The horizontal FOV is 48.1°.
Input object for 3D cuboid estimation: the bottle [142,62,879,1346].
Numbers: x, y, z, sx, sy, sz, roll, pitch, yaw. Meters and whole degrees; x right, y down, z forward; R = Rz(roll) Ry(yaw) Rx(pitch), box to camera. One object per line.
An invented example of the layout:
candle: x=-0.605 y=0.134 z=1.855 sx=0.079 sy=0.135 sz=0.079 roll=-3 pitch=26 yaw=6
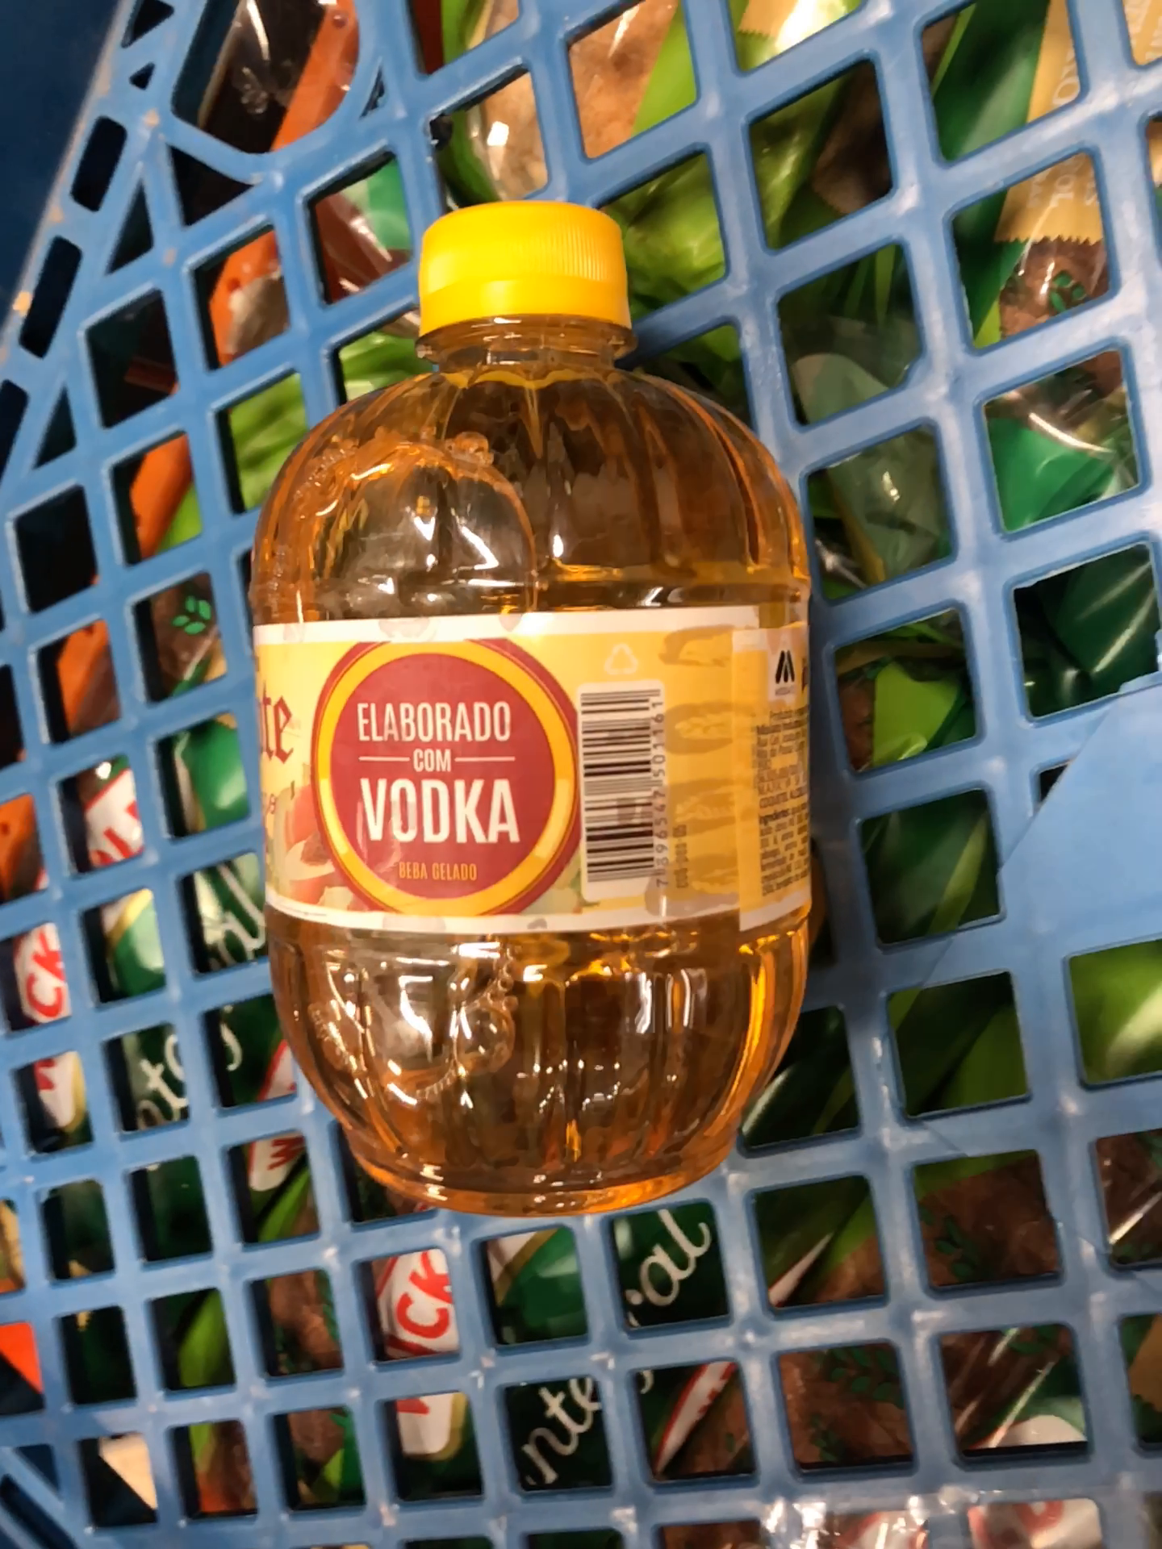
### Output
bottle: x=-0.013 y=-0.010 z=0.183 sx=0.080 sy=0.070 sz=0.130 roll=10 pitch=104 yaw=59
